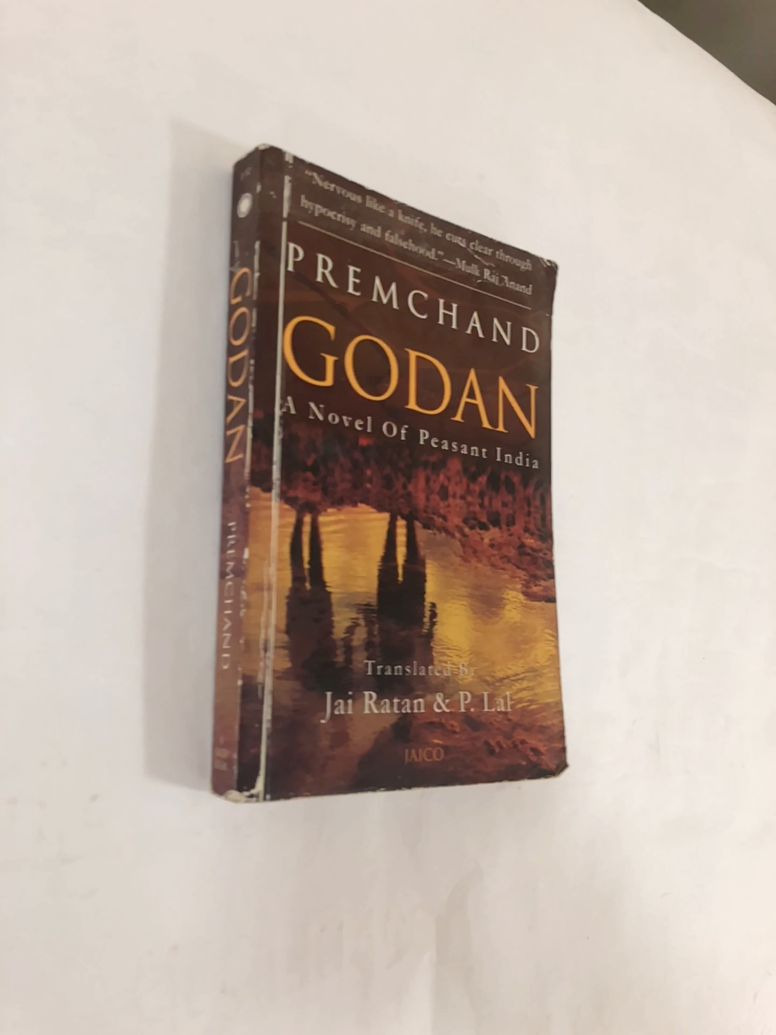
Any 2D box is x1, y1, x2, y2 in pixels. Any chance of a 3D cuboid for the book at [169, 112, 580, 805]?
[{"bbox_3d":[0.006,-0.013,0.309,0.151,0.030,0.210,10,76,-37],"label":"book"}]
